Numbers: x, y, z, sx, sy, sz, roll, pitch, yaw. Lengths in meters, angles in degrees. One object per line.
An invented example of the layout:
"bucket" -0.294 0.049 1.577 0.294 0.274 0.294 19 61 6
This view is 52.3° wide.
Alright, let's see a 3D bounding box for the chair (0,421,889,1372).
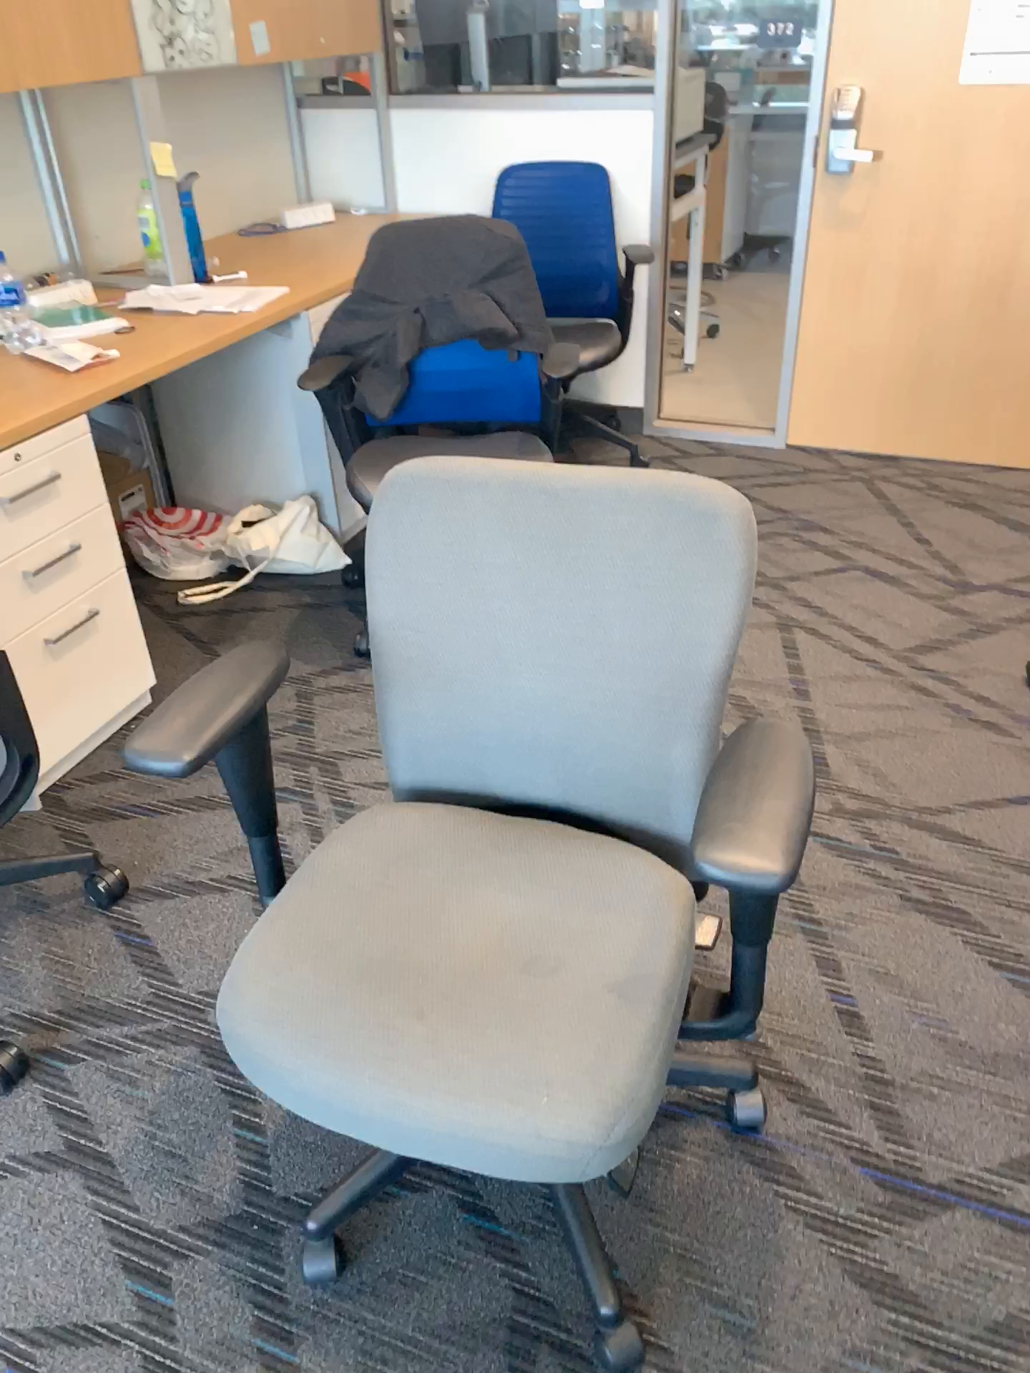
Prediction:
"chair" -0.013 0.223 1.237 0.671 0.813 0.665 12 35 21
